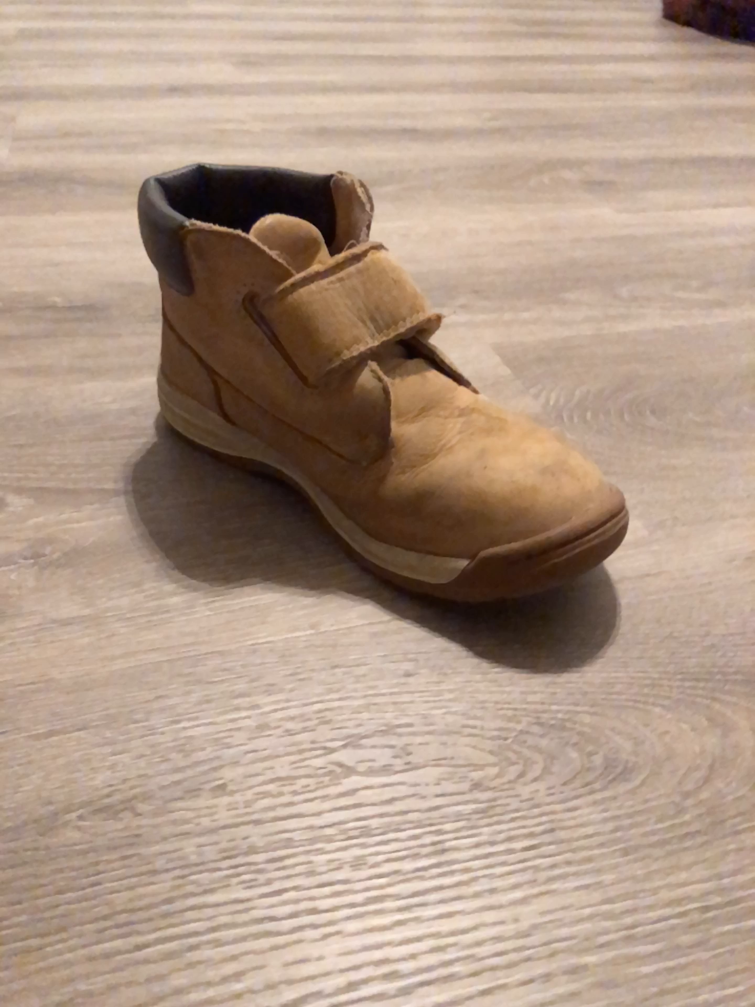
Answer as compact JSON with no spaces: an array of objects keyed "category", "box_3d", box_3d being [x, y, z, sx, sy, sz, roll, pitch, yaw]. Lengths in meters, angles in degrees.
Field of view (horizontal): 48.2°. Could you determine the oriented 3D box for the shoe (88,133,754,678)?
[{"category":"shoe","box_3d":[0.002,-0.051,0.295,0.200,0.099,0.090,30,44,32]}]
